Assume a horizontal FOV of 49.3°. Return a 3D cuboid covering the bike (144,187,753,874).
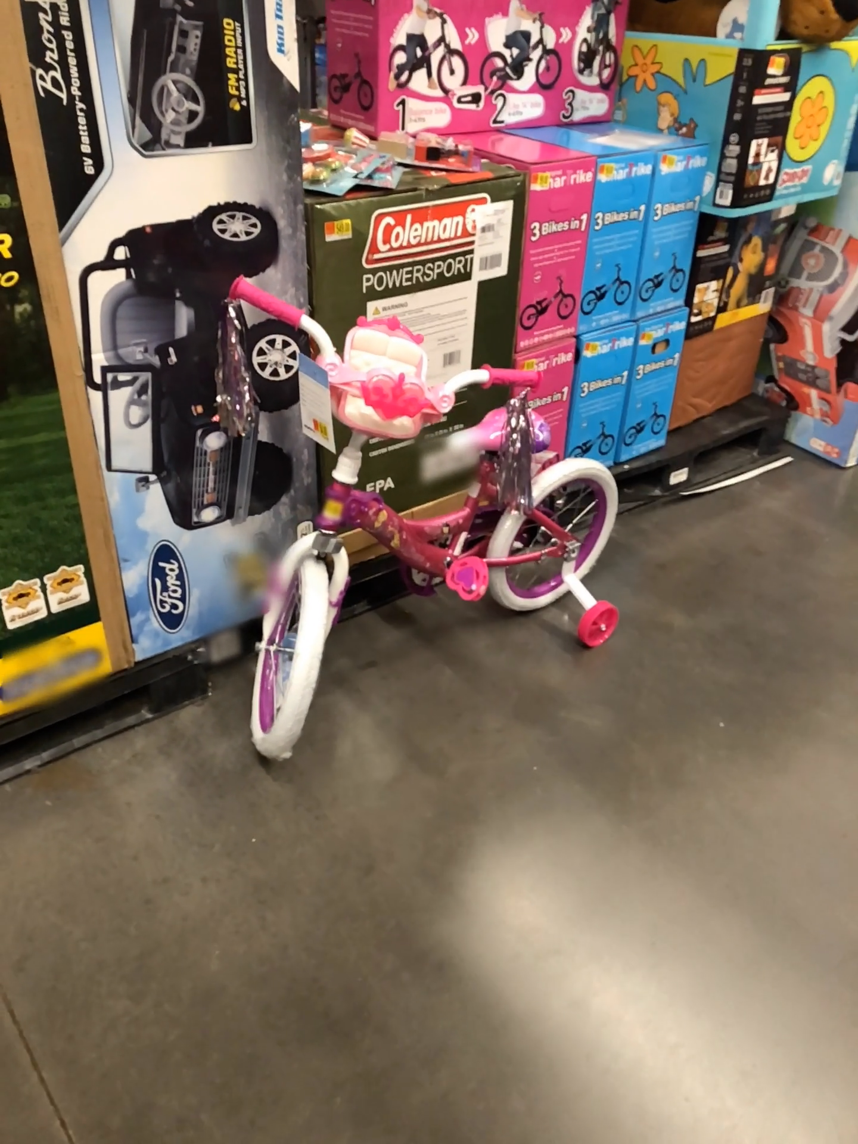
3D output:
[{"bbox_3d":[0.074,-0.145,1.741,0.478,0.854,0.951,27,42,32],"label":"bike"}]
